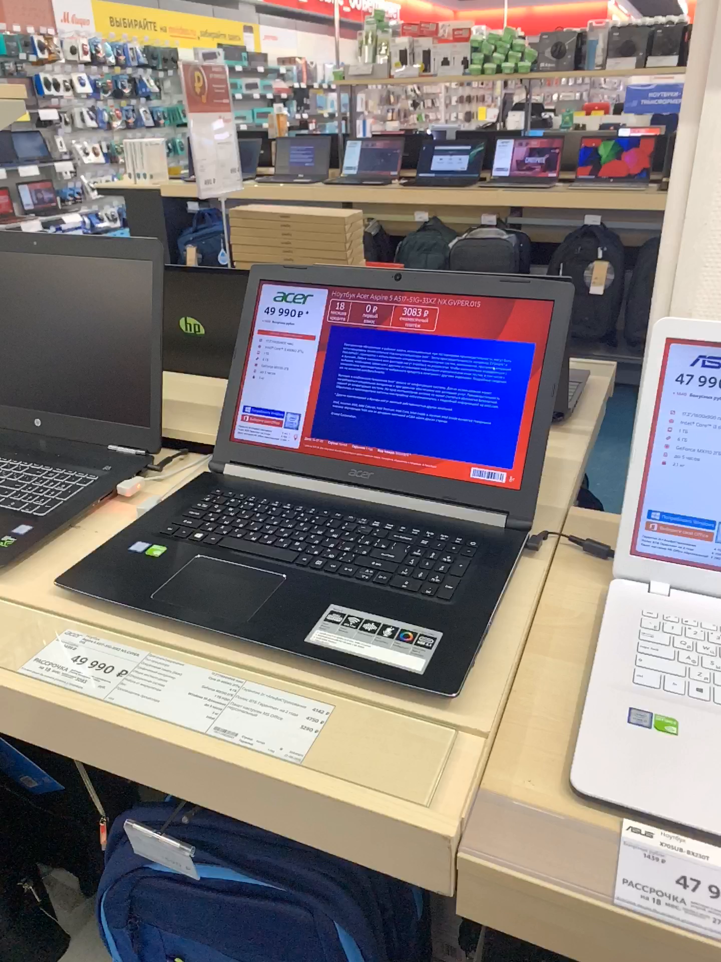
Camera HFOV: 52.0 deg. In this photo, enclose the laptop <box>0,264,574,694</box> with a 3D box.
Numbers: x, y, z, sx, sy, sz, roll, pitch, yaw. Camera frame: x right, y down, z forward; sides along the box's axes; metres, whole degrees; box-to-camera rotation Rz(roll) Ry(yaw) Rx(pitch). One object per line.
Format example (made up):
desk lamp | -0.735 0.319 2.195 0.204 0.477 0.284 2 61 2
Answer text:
laptop | -0.035 -0.059 0.793 0.420 0.235 0.422 10 29 22
